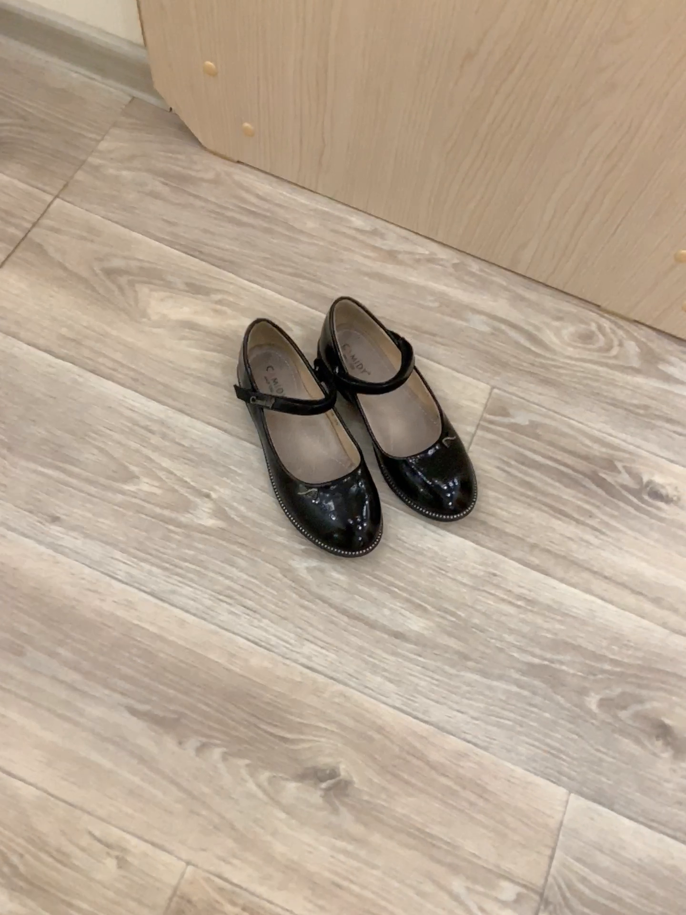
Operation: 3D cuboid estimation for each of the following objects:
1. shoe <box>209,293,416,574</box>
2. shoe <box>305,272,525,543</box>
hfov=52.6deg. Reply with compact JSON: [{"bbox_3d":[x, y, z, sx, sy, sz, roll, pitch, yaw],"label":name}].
[{"bbox_3d":[-0.037,-0.024,0.696,0.090,0.100,0.250,-25,72,-15],"label":"shoe"},{"bbox_3d":[0.064,-0.052,0.720,0.090,0.100,0.250,-27,73,-16],"label":"shoe"}]
